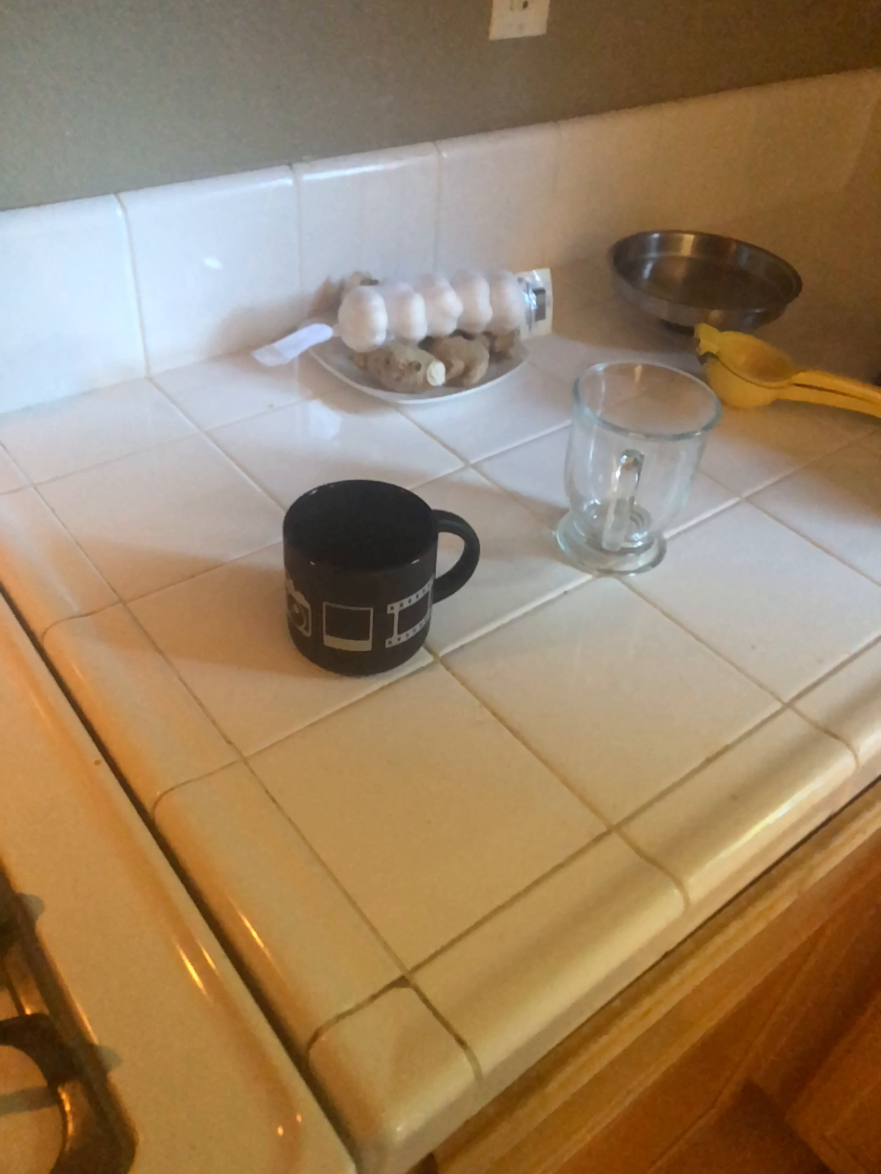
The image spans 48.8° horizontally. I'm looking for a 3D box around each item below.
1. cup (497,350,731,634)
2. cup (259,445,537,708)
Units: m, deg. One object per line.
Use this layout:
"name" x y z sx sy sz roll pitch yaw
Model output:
"cup" 0.117 -0.068 0.654 0.100 0.109 0.141 20 43 15
"cup" -0.029 -0.010 0.577 0.130 0.089 0.101 -12 45 -19
